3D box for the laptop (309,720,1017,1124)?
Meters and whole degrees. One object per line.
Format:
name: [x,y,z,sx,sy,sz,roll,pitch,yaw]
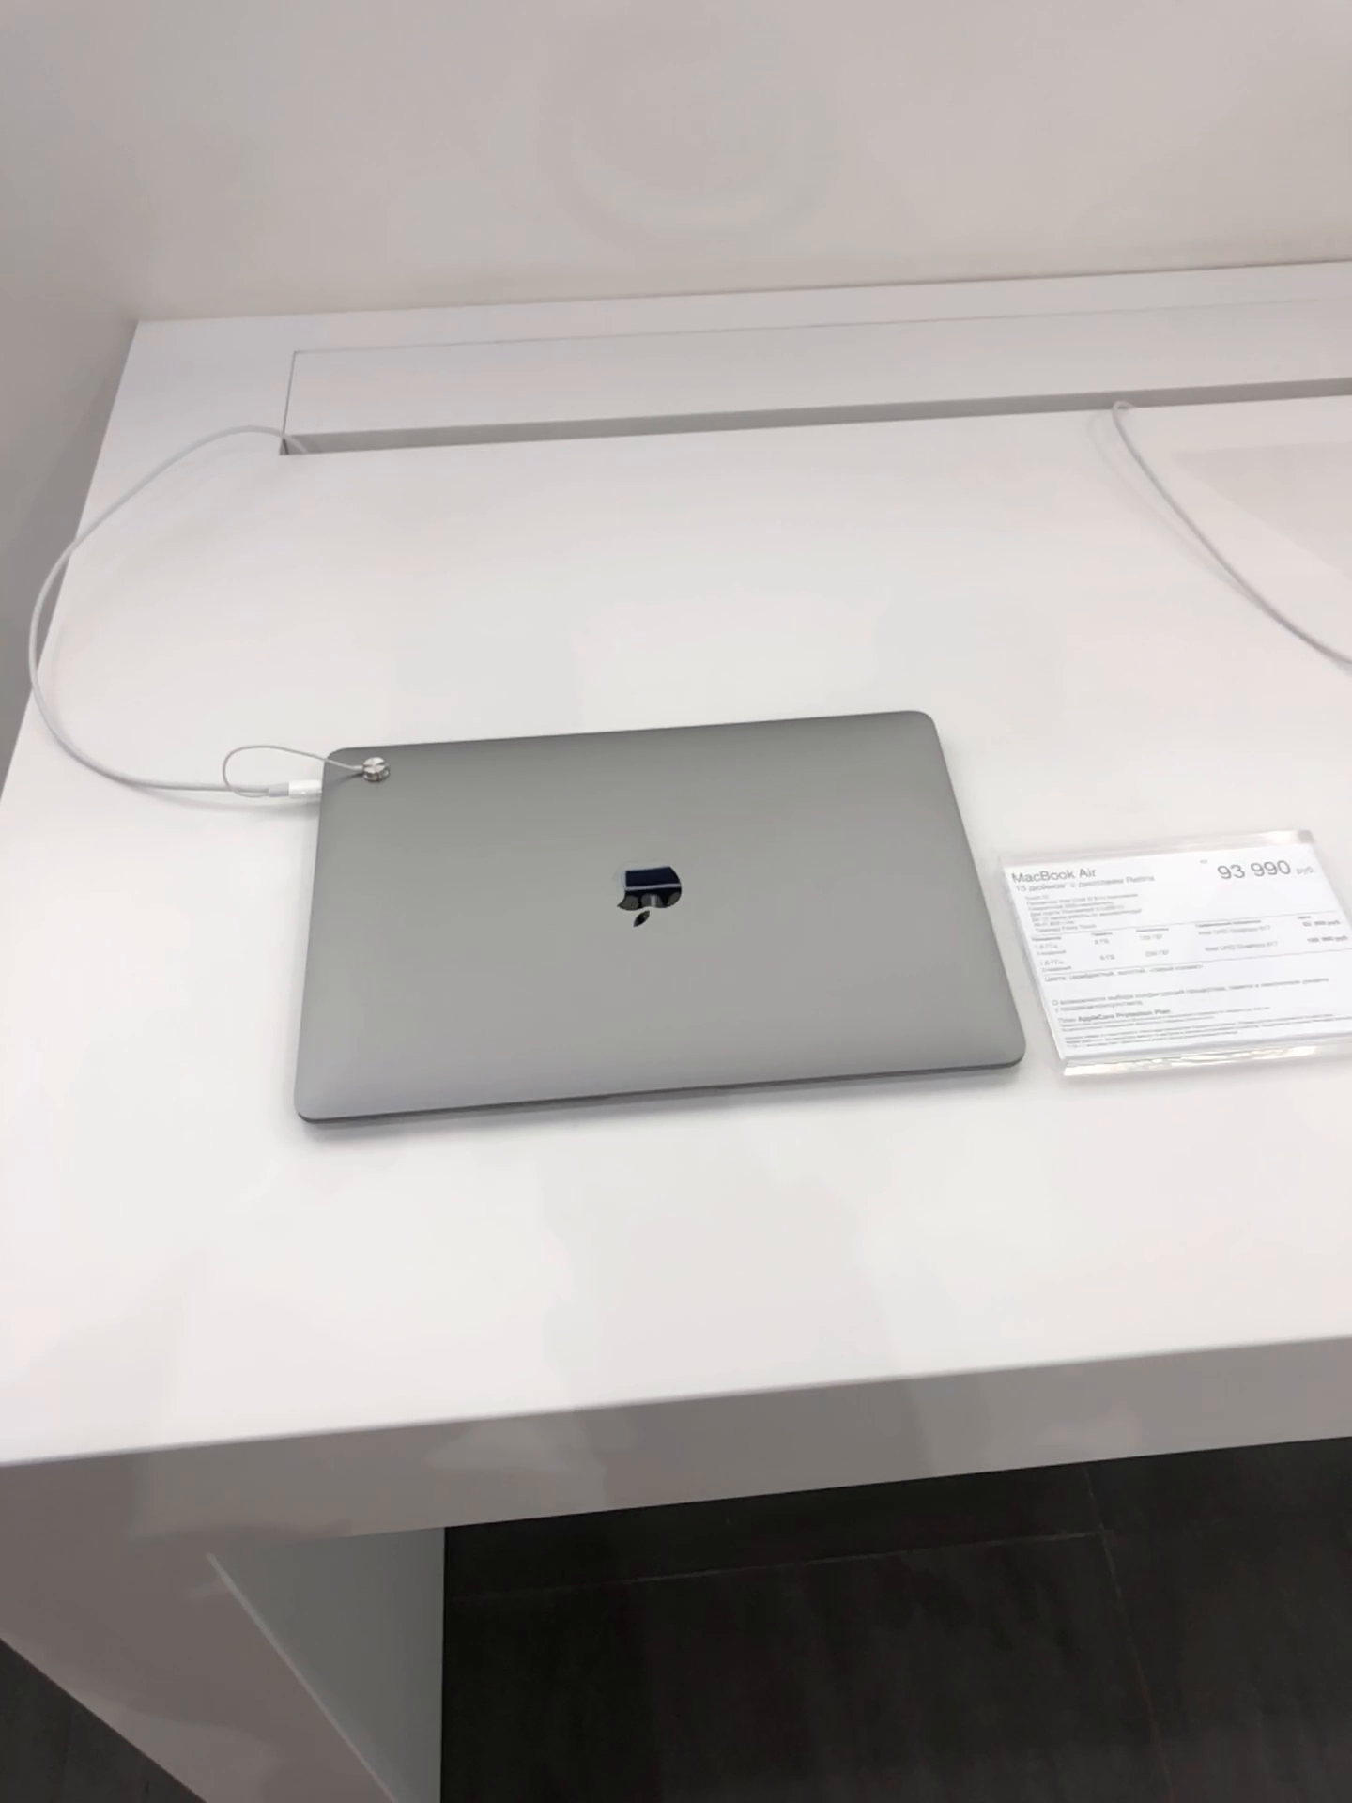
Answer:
laptop: [-0.013,0.000,0.679,0.292,0.006,0.205,-4,51,-3]
